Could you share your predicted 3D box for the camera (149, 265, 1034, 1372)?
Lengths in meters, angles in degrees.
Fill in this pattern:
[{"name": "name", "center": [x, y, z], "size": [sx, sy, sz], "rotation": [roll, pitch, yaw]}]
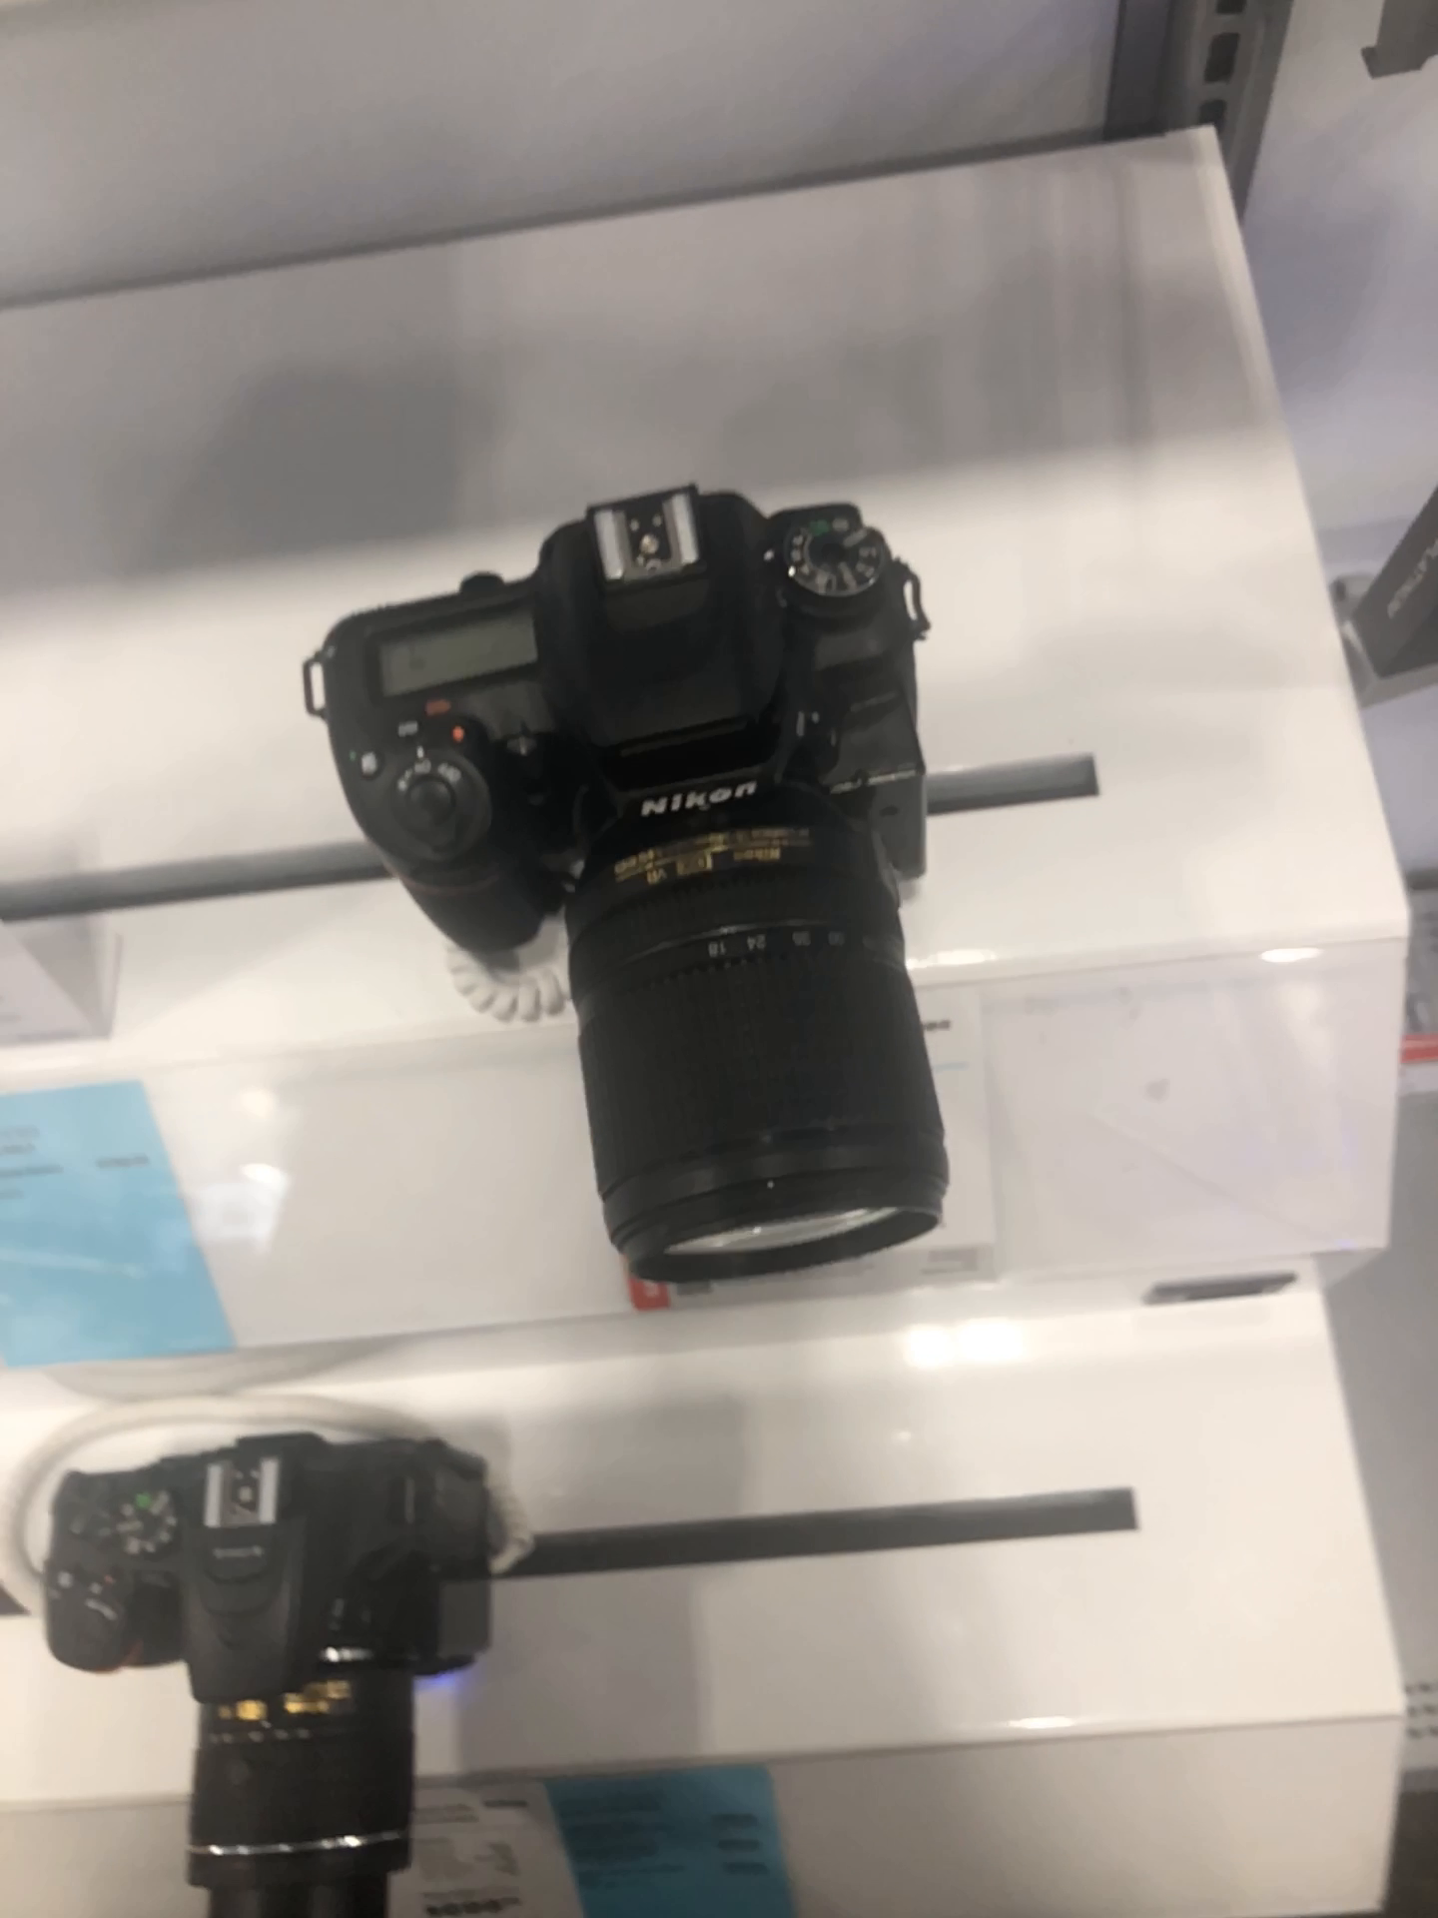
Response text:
[{"name": "camera", "center": [-0.028, -0.024, 0.361], "size": [0.150, 0.120, 0.190], "rotation": [-11, 67, 3]}]
